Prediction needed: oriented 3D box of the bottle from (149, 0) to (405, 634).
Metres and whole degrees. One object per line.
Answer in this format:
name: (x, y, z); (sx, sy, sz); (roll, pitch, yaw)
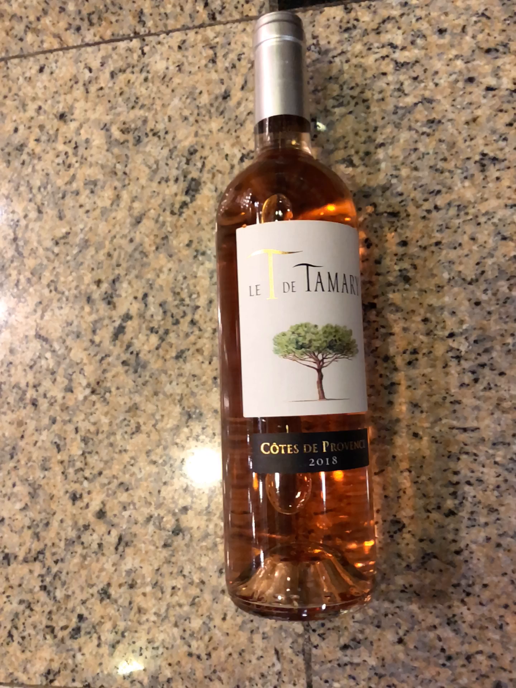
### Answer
bottle: (0.010, -0.047, 0.272); (0.090, 0.080, 0.320); (-4, 85, 11)
